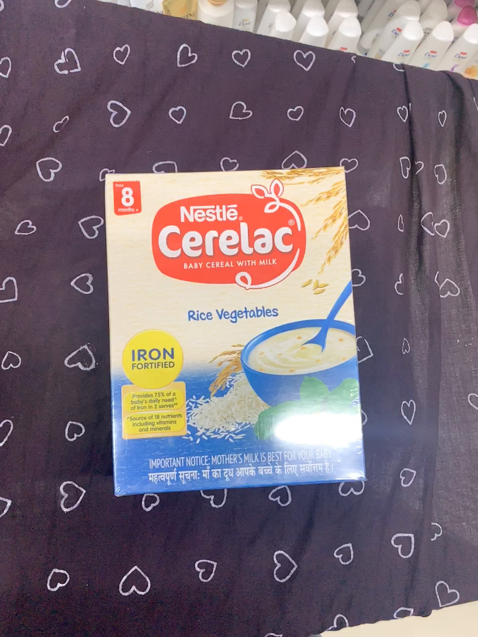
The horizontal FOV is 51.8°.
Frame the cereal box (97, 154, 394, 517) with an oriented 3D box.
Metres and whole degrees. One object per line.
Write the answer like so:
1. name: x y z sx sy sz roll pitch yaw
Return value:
1. cereal box: 0.000 0.006 0.295 0.150 0.050 0.190 -4 83 -4
